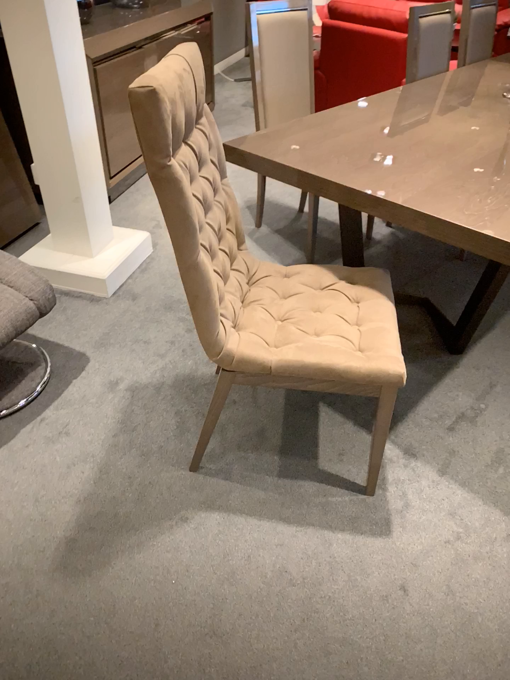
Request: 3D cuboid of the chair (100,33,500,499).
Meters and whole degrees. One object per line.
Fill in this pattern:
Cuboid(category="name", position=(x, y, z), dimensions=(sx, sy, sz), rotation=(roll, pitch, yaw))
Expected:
Cuboid(category="chair", position=(0.078, -0.155, 1.345), dimensions=(0.636, 1.021, 0.528), rotation=(5, 38, 4))

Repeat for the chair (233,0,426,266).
Cuboid(category="chair", position=(0.289, -1.015, 2.516), dimensions=(0.524, 1.021, 0.640), rotation=(-22, 44, -27))
